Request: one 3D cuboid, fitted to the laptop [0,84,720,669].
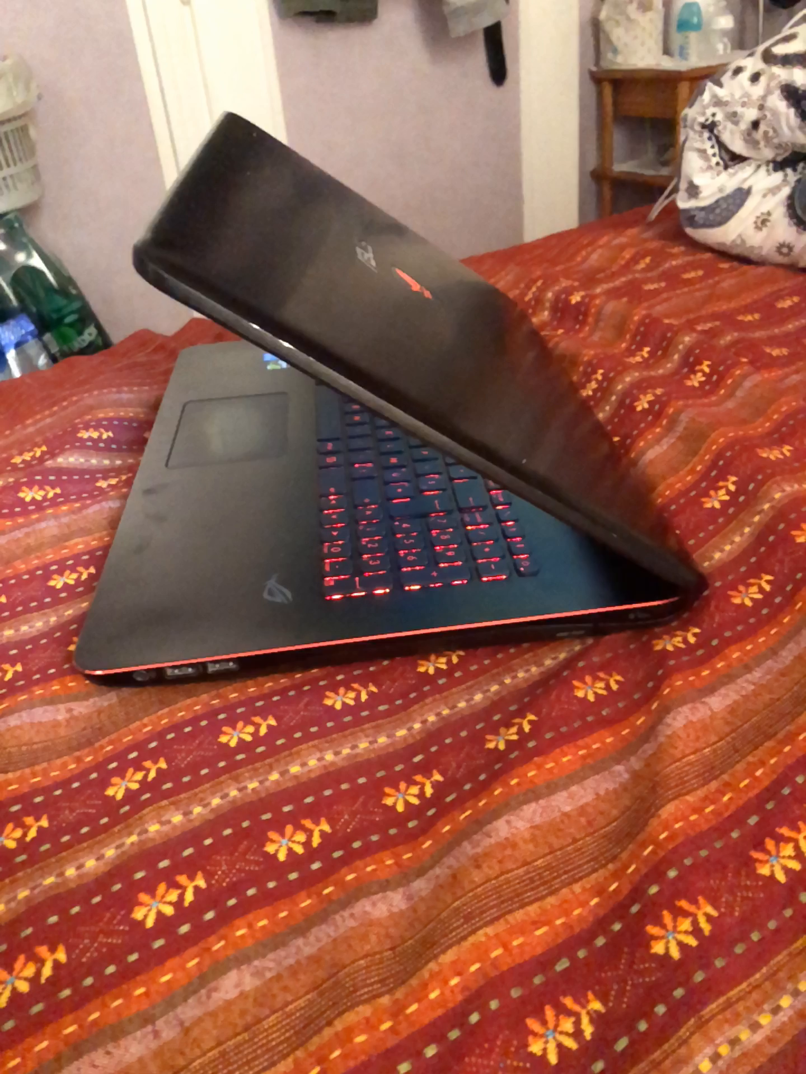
[{"bbox_3d":[-0.033,-0.136,0.513,0.267,0.168,0.401,-7,32,-2],"label":"laptop"}]
